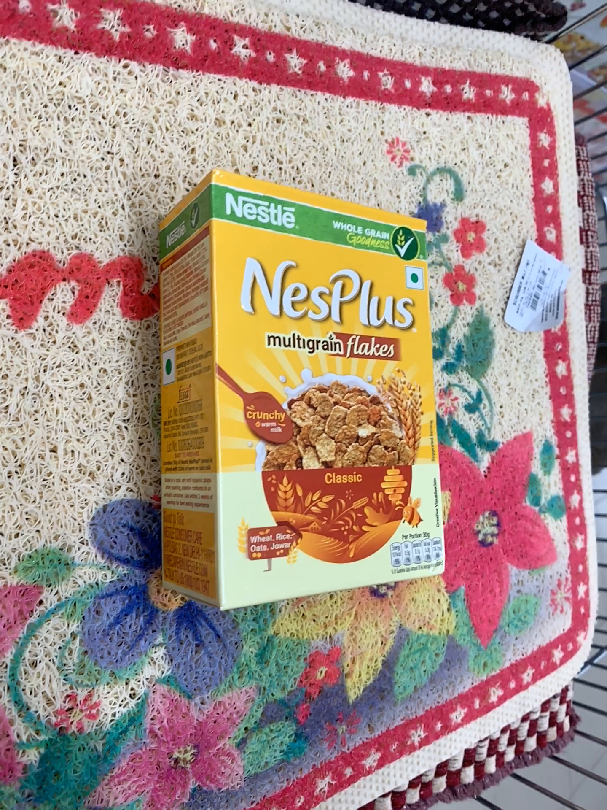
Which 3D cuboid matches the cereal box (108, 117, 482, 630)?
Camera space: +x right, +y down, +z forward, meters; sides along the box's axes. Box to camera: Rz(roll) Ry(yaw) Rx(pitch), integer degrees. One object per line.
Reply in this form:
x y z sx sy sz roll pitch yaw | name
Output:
-0.001 -0.008 0.233 0.131 0.040 0.150 2 83 -31 | cereal box
